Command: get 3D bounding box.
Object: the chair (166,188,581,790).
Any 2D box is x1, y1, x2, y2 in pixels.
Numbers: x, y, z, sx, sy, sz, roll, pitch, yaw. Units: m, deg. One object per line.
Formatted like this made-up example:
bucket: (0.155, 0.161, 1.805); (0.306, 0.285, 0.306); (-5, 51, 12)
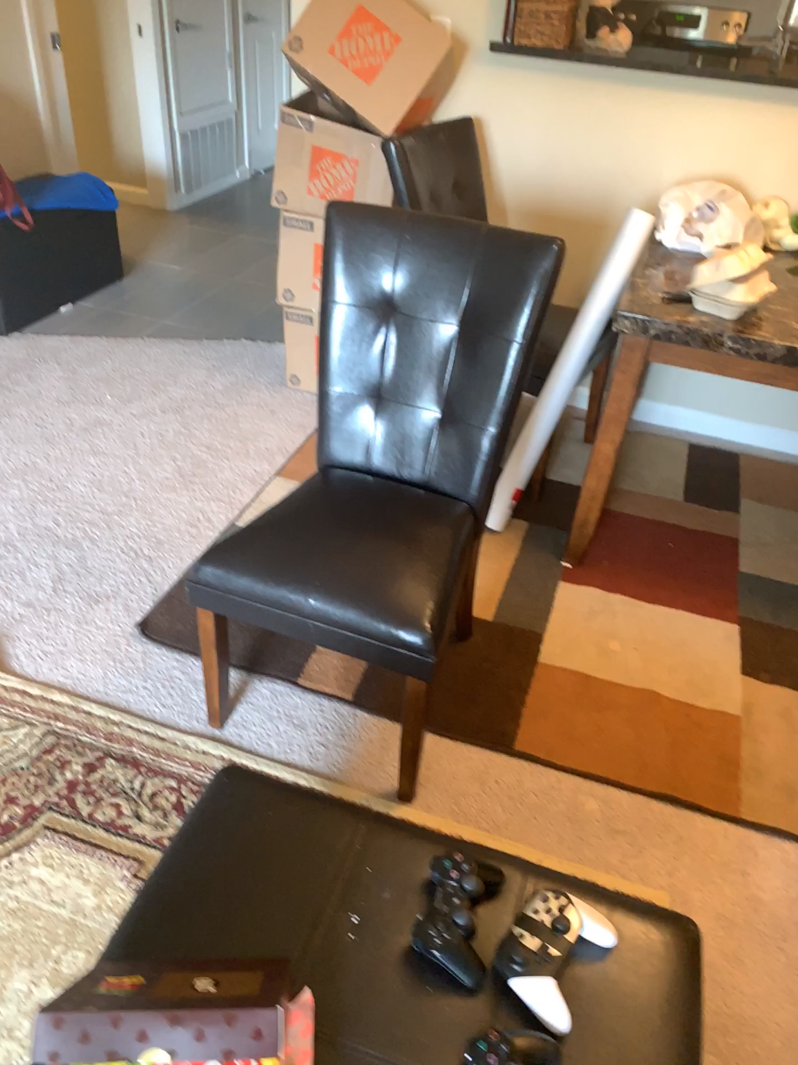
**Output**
chair: (-0.027, -0.103, 1.642); (0.491, 0.915, 0.653); (16, 37, 14)
